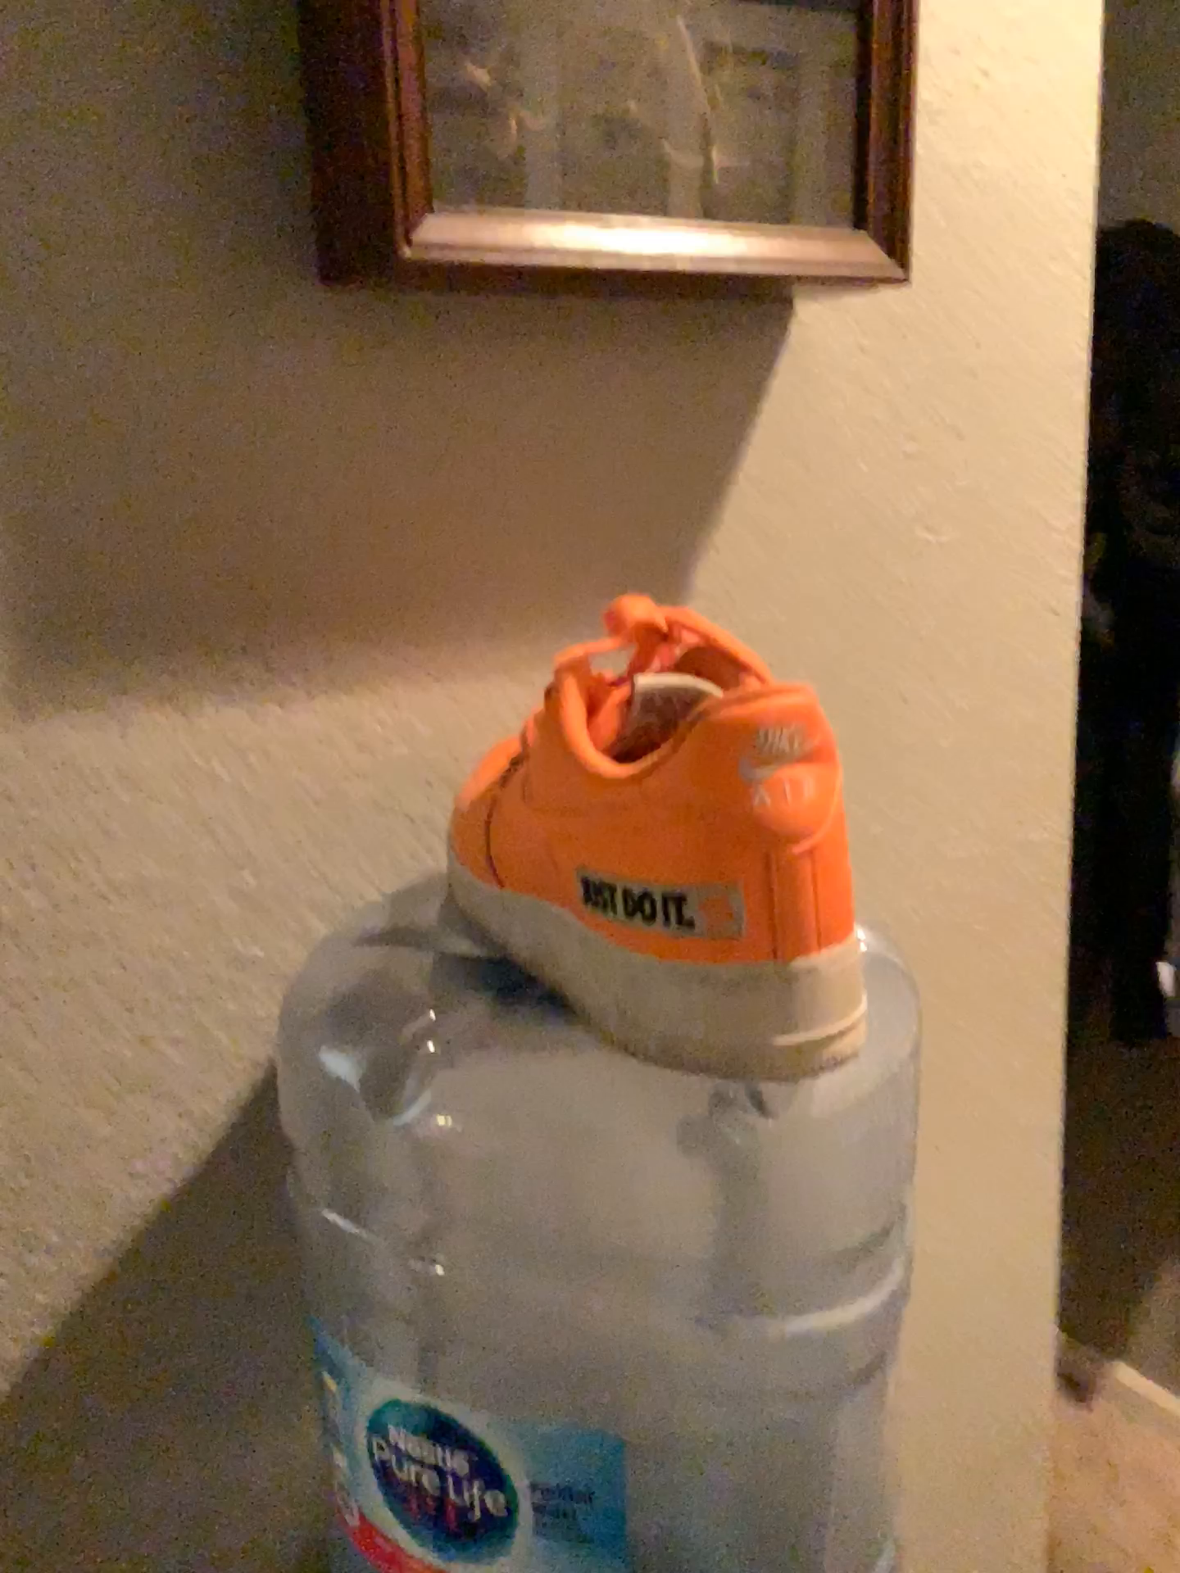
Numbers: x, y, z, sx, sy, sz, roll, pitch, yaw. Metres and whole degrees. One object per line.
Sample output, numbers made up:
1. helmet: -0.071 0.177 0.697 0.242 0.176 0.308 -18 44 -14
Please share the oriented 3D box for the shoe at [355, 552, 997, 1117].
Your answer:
1. shoe: 0.009 -0.011 0.515 0.120 0.140 0.300 -9 15 -22
